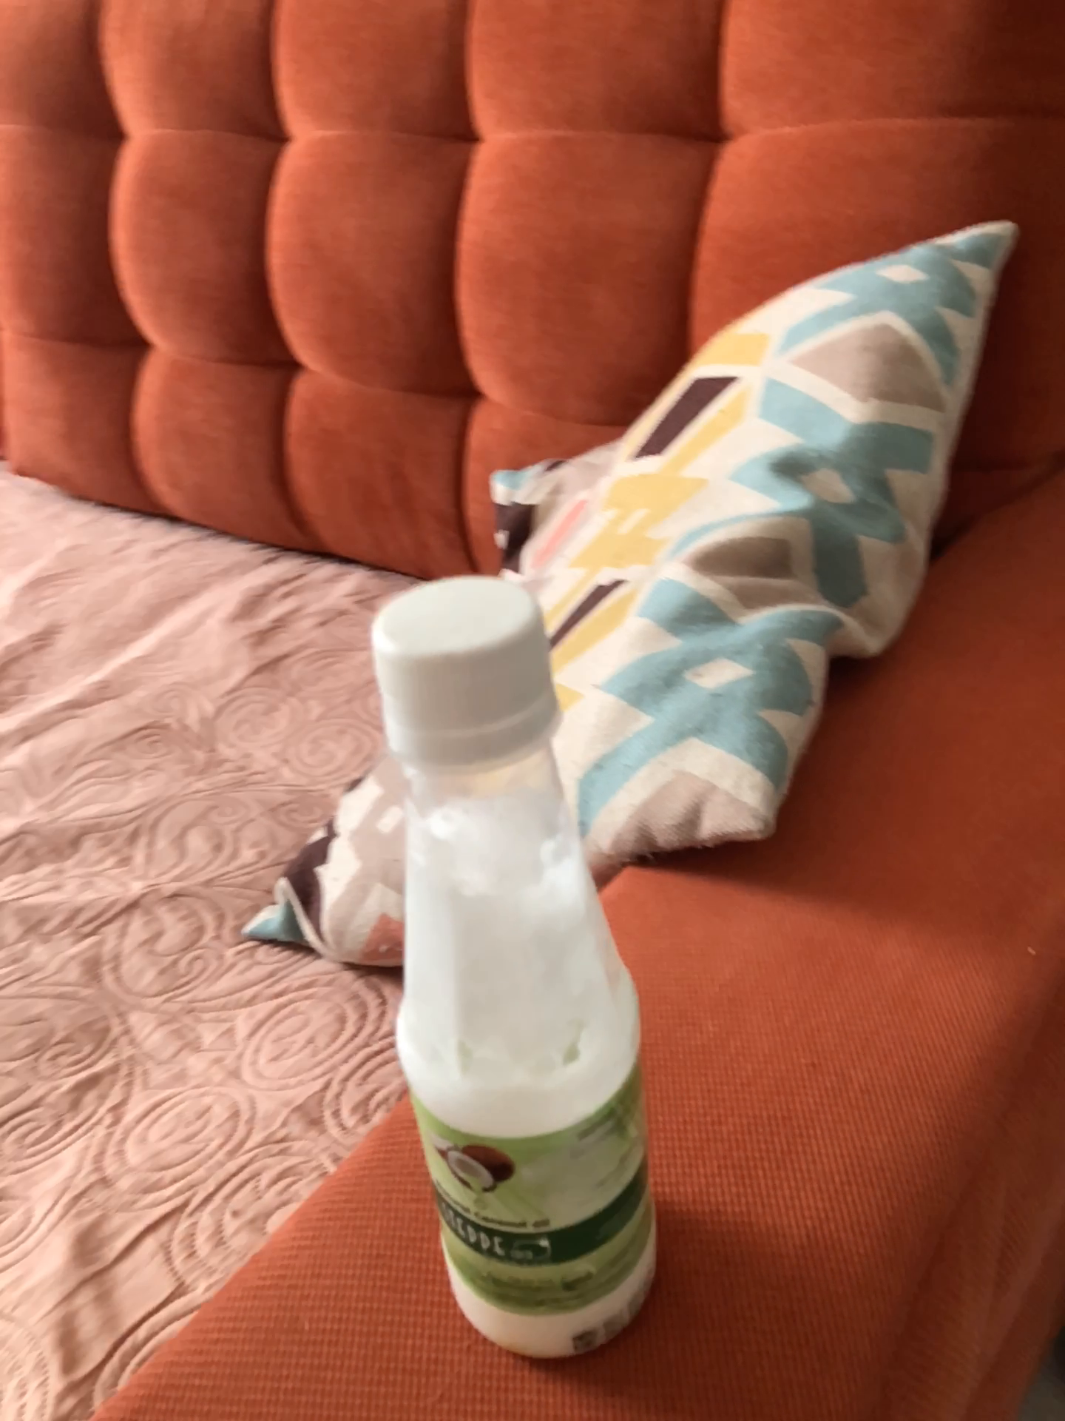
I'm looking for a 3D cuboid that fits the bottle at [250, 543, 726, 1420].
[{"bbox_3d":[-0.001,0.063,0.248,0.060,0.179,0.060,-3,32,2],"label":"bottle"}]
